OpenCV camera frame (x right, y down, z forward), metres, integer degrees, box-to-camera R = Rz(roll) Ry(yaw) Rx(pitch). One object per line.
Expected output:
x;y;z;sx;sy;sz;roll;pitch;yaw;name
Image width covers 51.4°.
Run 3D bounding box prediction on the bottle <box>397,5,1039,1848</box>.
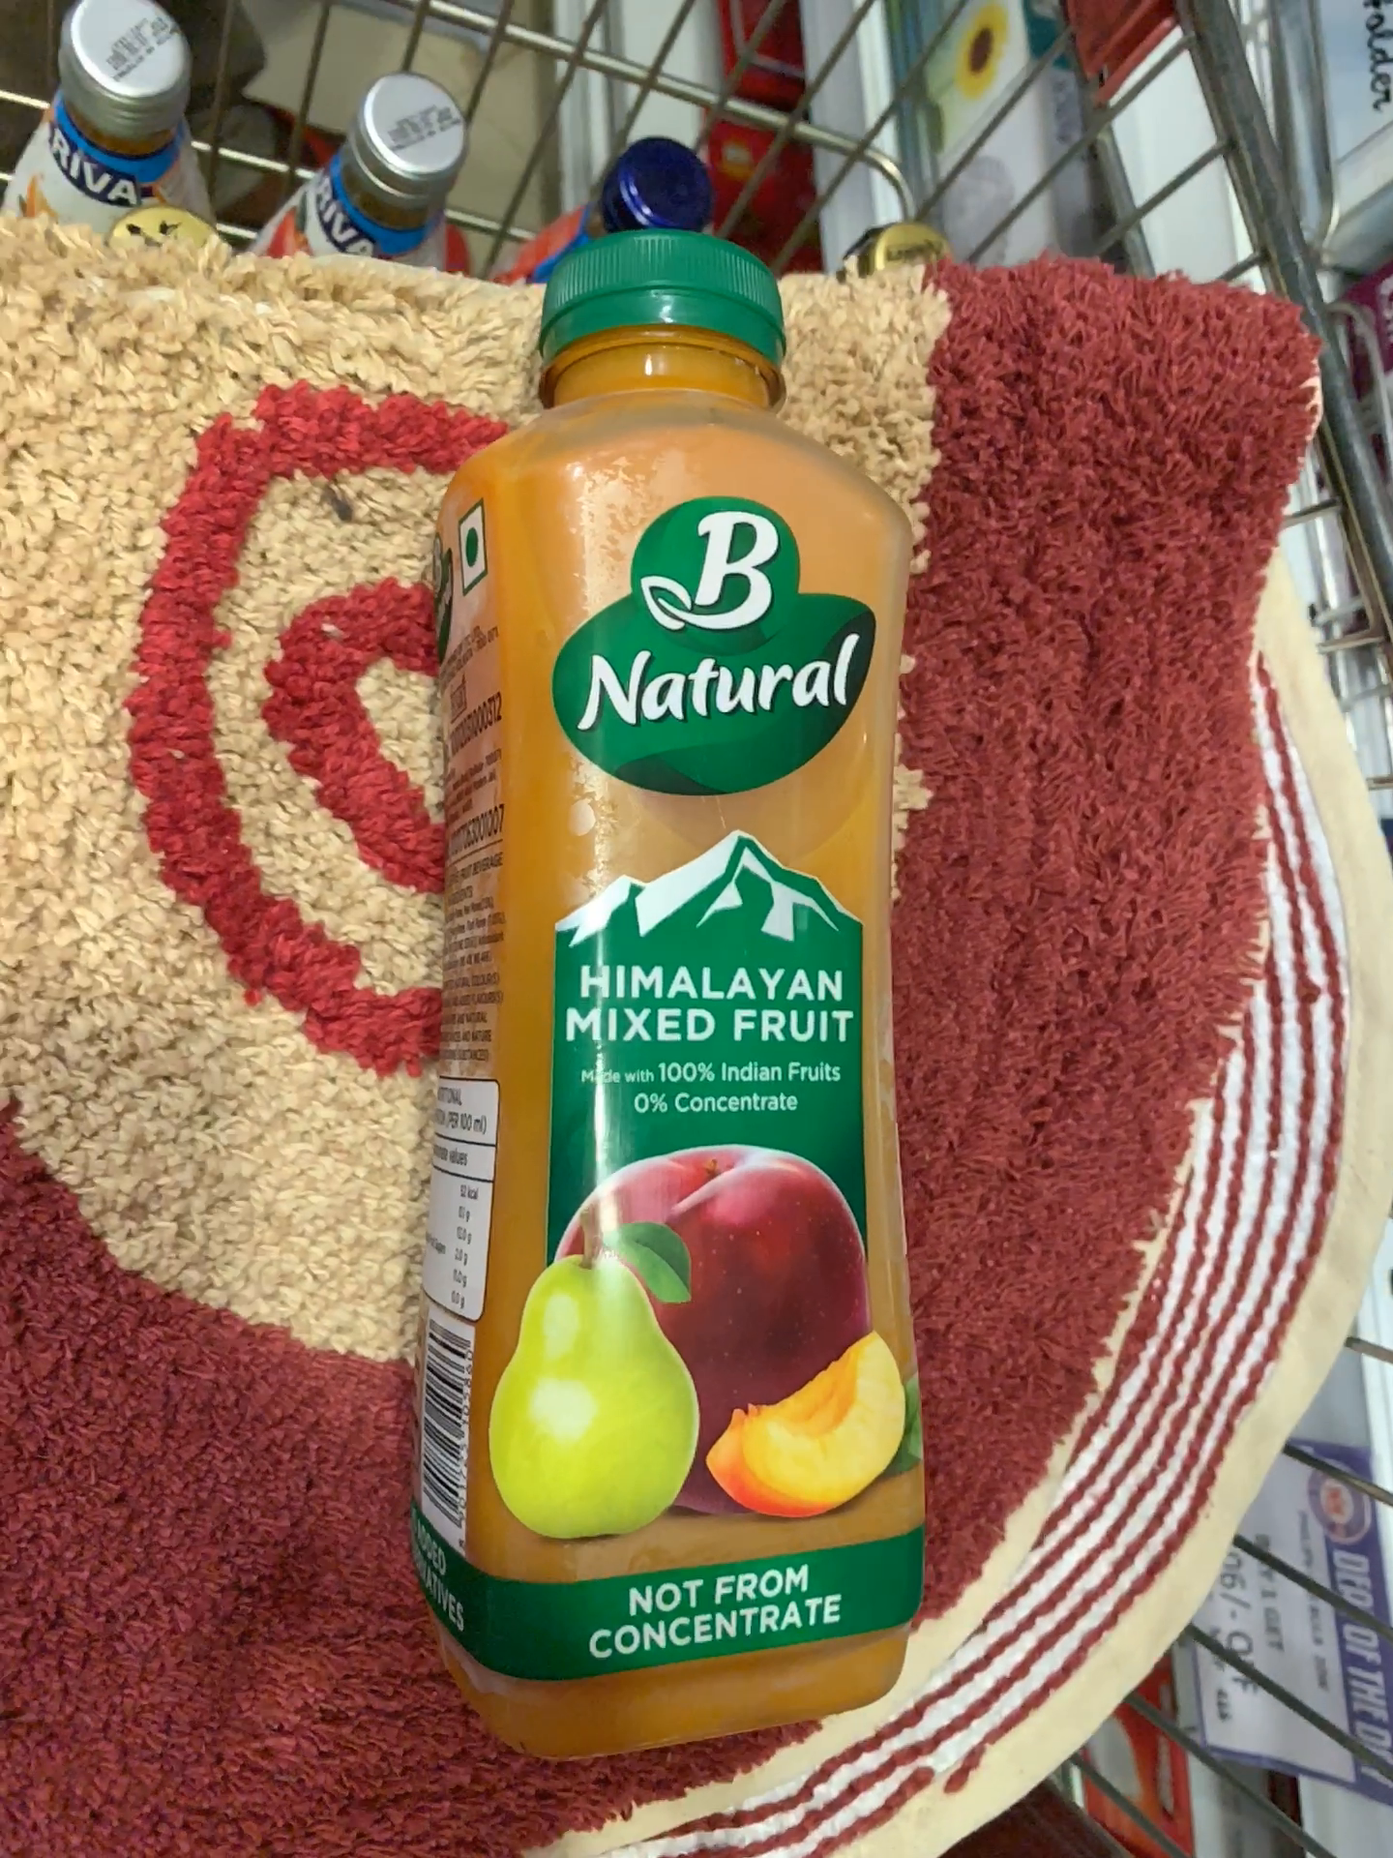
-0.003;-0.005;0.224;0.070;0.070;0.230;3;81;-21;bottle
